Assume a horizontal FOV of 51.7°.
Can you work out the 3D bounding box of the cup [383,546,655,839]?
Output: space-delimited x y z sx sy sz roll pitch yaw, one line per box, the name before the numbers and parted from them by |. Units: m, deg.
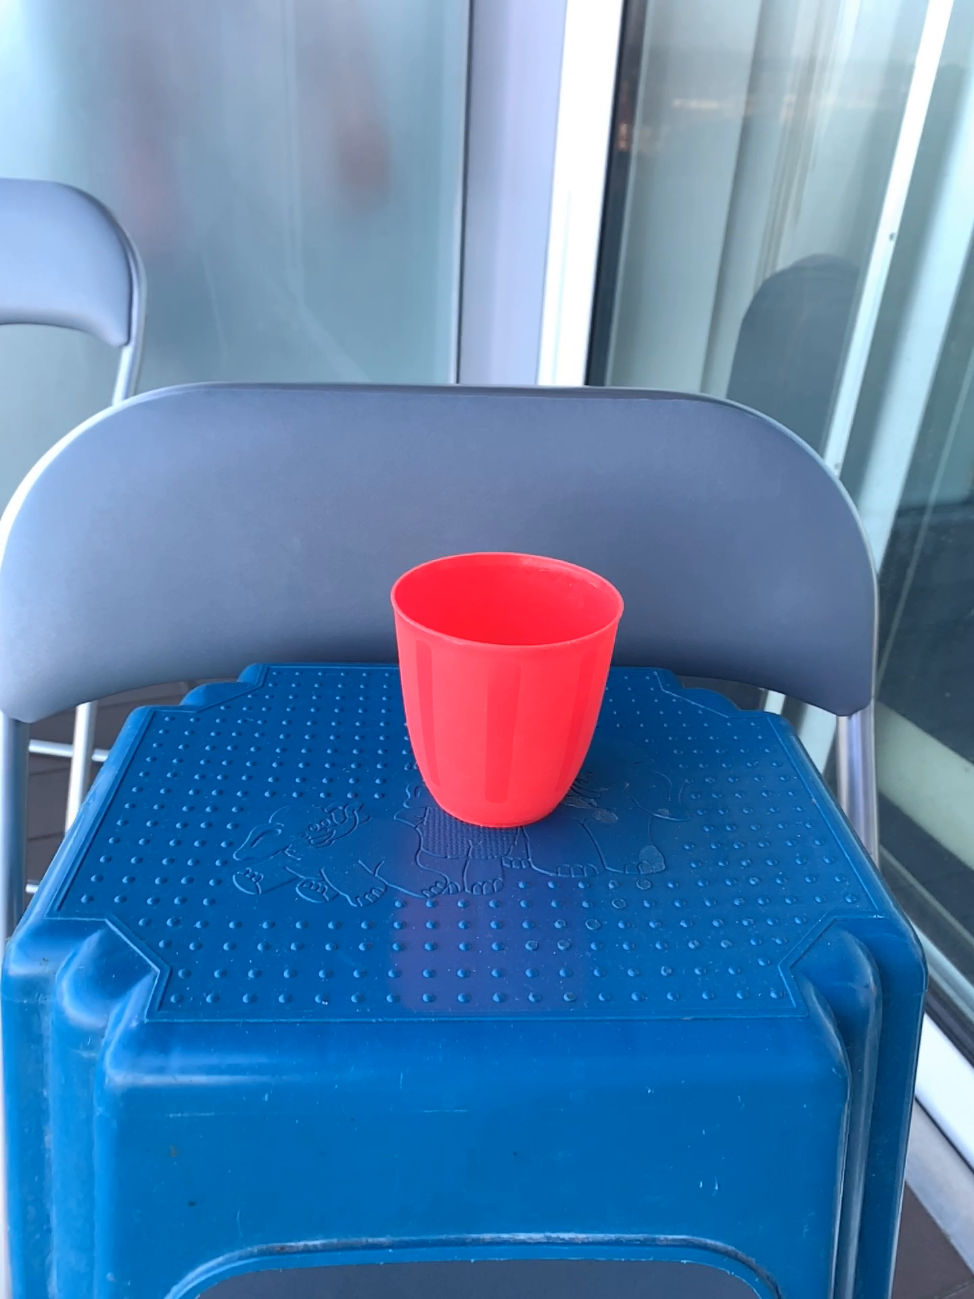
cup | 0.007 0.015 0.371 0.086 0.077 0.074 2 31 -4
